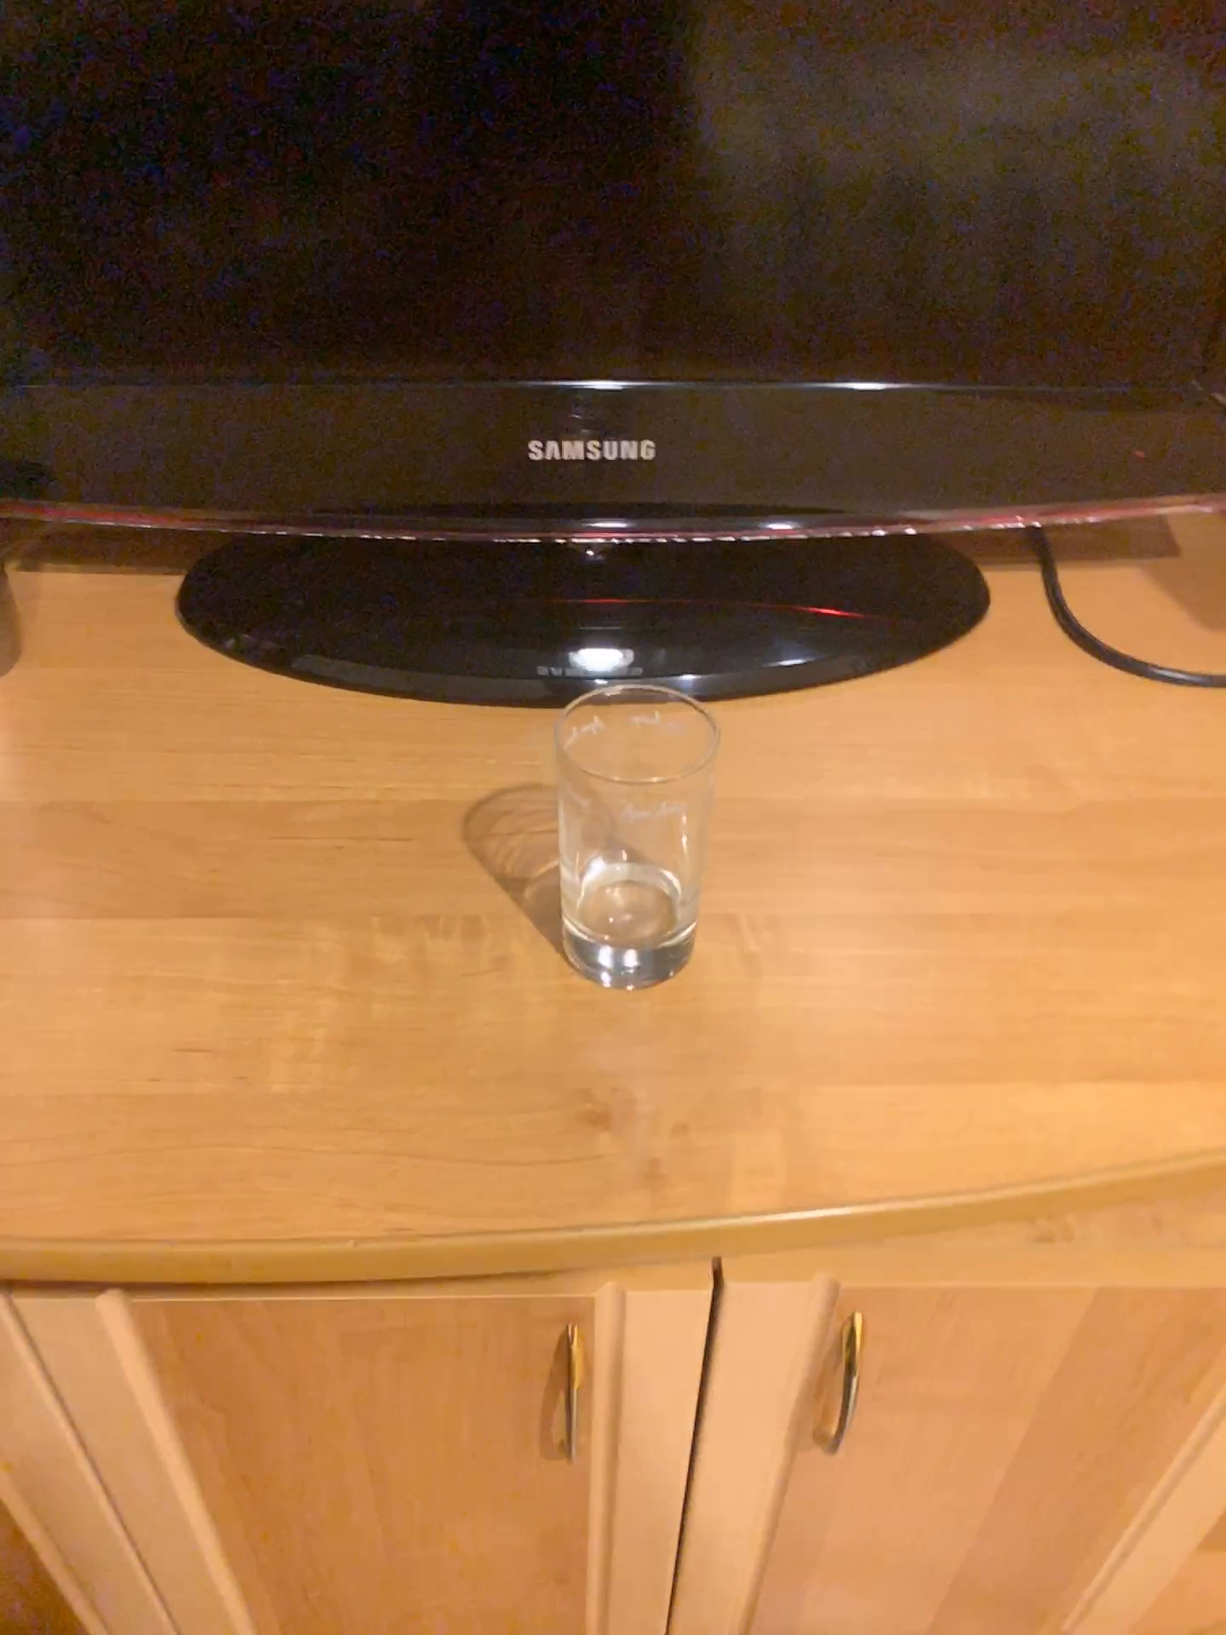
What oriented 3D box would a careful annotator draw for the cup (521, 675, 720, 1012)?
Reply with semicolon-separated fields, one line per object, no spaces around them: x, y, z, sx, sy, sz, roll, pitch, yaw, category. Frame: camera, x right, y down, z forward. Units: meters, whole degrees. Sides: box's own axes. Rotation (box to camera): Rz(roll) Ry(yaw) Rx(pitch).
0.003;0.010;0.435;0.060;0.098;0.060;1;39;0;cup
